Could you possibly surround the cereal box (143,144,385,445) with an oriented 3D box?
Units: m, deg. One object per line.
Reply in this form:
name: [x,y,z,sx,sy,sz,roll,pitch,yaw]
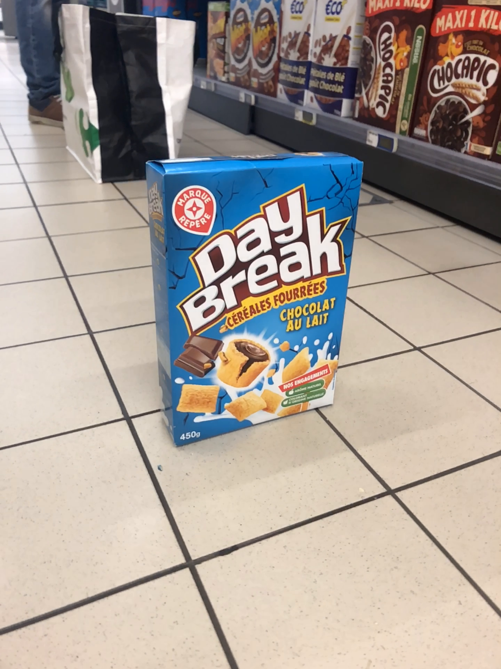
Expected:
cereal box: [0.011,-0.041,0.537,0.201,0.259,0.070,-11,30,-22]
